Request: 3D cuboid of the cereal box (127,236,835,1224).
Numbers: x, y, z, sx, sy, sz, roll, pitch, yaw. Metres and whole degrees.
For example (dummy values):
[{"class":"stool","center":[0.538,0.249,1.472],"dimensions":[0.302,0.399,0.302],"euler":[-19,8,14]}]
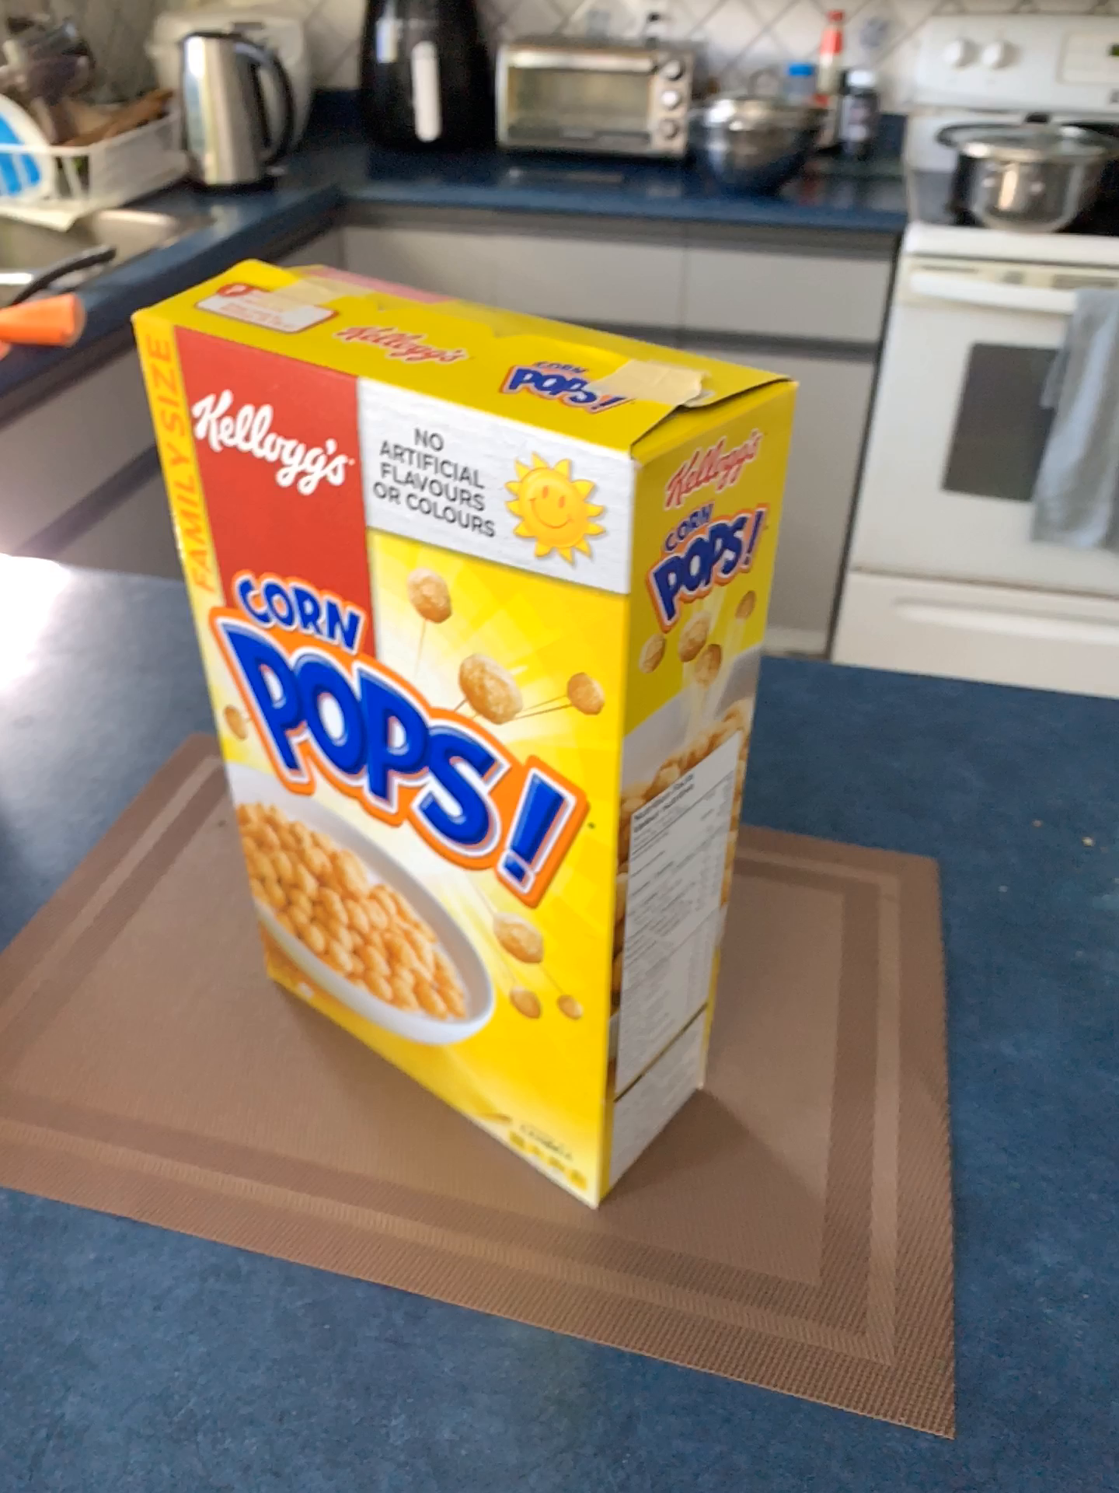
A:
[{"class":"cereal box","center":[-0.034,-0.003,0.446],"dimensions":[0.211,0.317,0.091],"euler":[25,42,31]}]
